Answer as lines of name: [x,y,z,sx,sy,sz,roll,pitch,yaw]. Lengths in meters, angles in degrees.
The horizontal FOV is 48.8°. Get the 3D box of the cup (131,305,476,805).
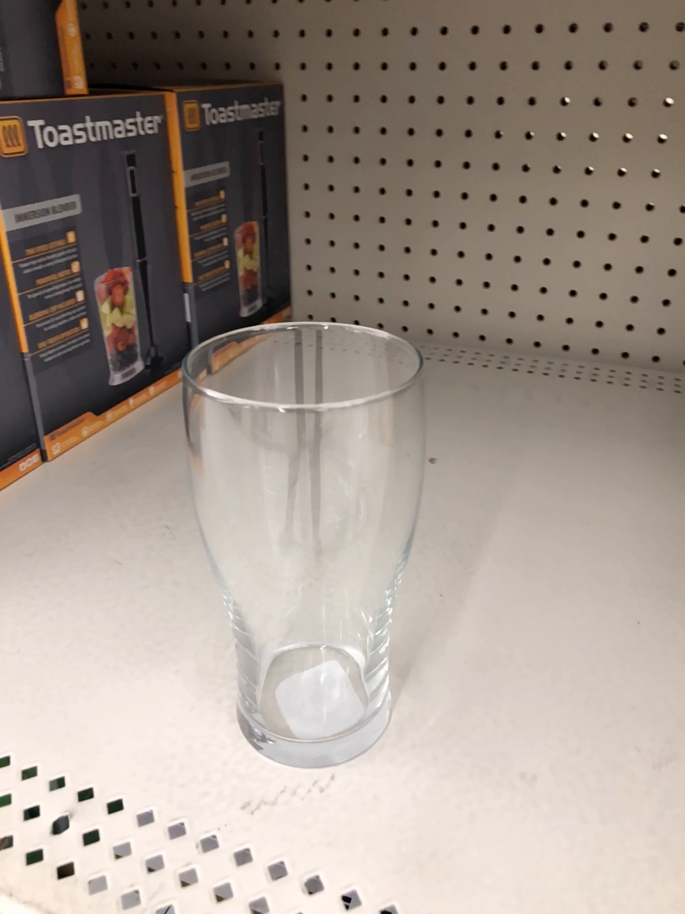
cup: [-0.009,0.029,0.270,0.076,0.138,0.081,-1,27,0]
